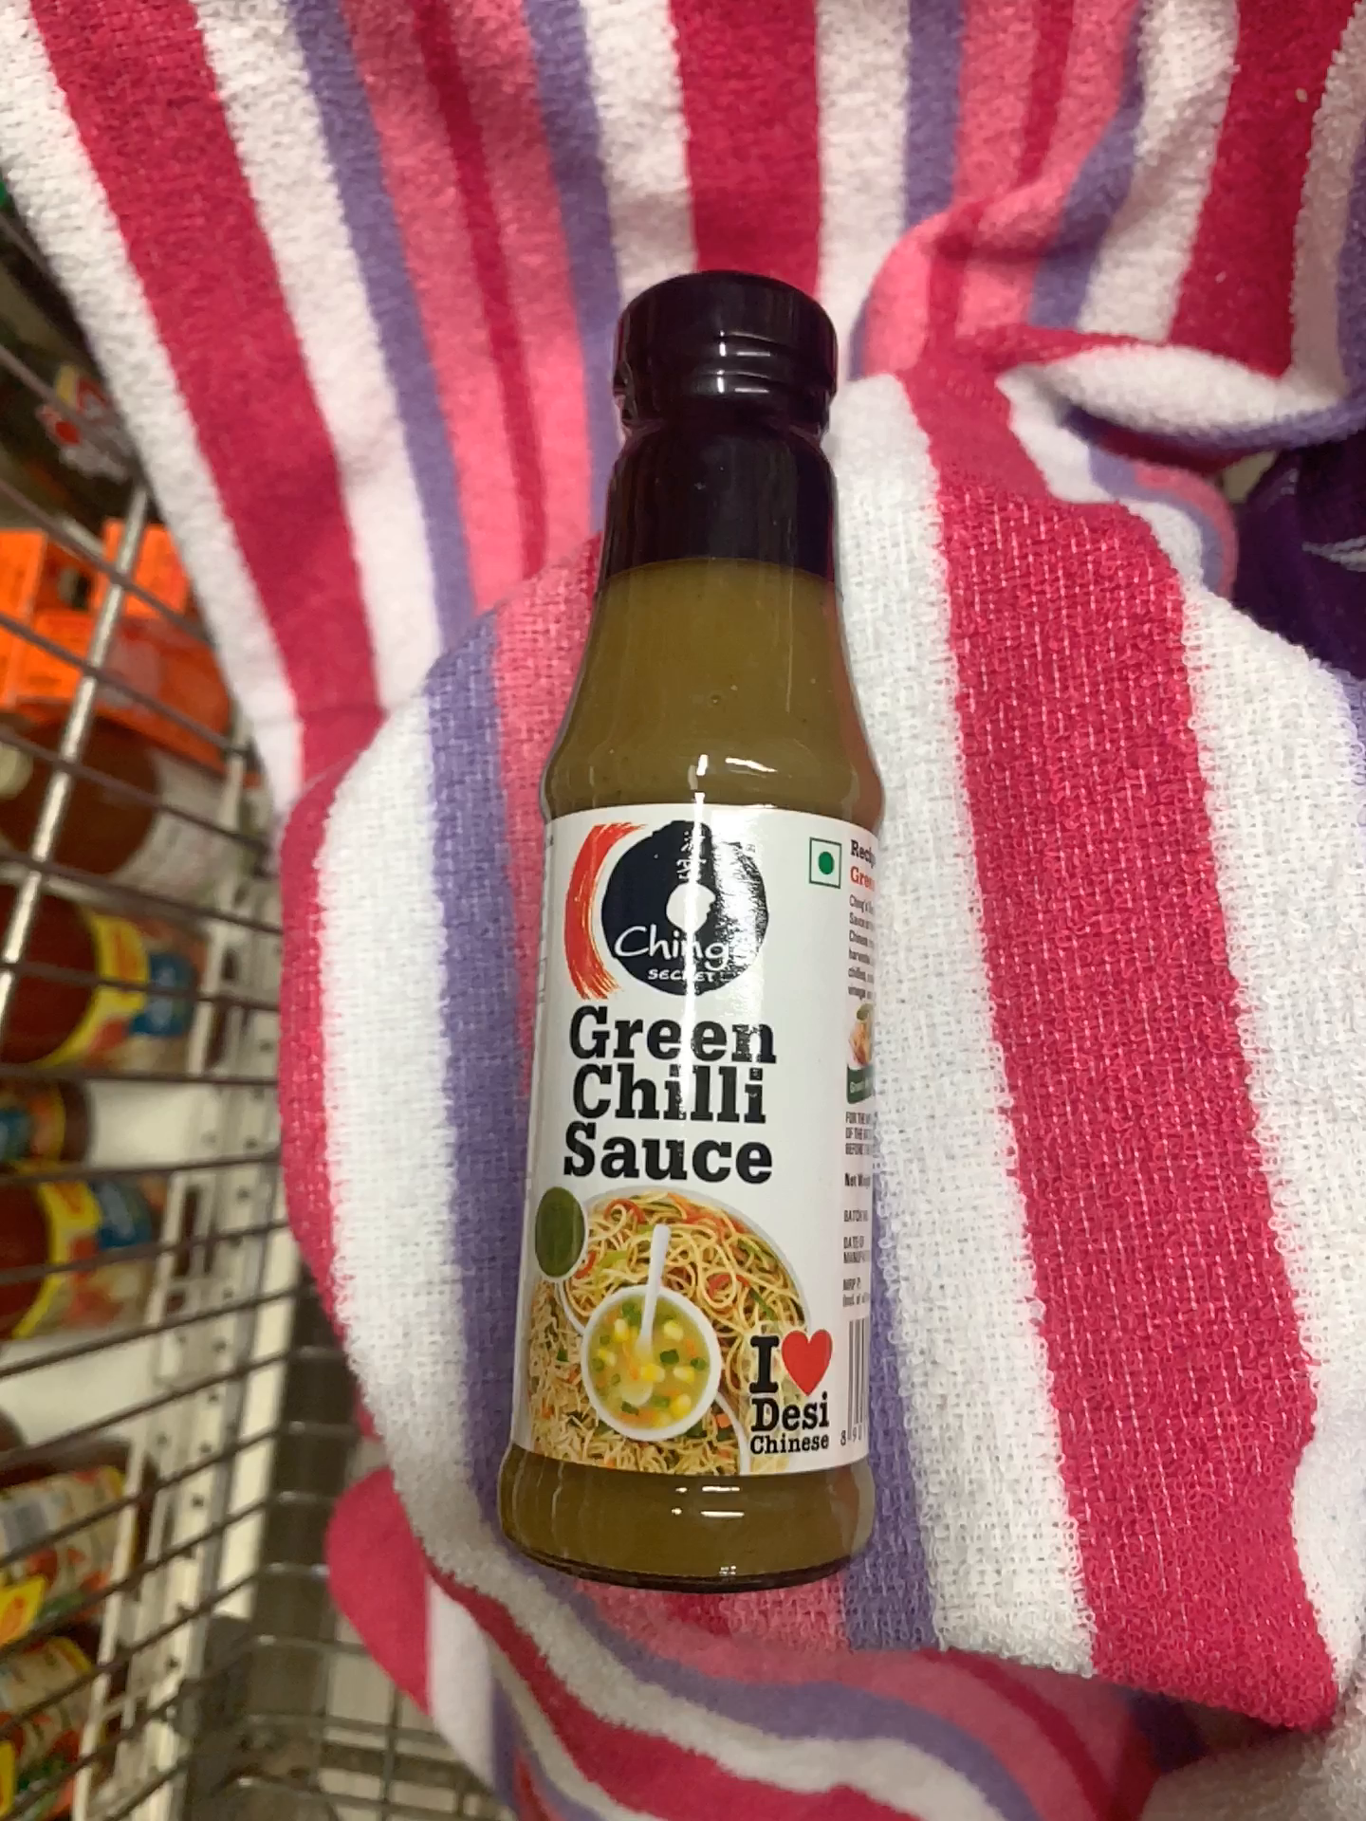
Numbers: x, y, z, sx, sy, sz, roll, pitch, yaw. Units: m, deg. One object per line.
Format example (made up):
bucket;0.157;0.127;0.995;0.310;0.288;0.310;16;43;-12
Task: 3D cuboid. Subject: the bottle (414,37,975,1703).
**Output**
bottle;0.007;-0.008;0.173;0.050;0.050;0.170;-1;79;17
